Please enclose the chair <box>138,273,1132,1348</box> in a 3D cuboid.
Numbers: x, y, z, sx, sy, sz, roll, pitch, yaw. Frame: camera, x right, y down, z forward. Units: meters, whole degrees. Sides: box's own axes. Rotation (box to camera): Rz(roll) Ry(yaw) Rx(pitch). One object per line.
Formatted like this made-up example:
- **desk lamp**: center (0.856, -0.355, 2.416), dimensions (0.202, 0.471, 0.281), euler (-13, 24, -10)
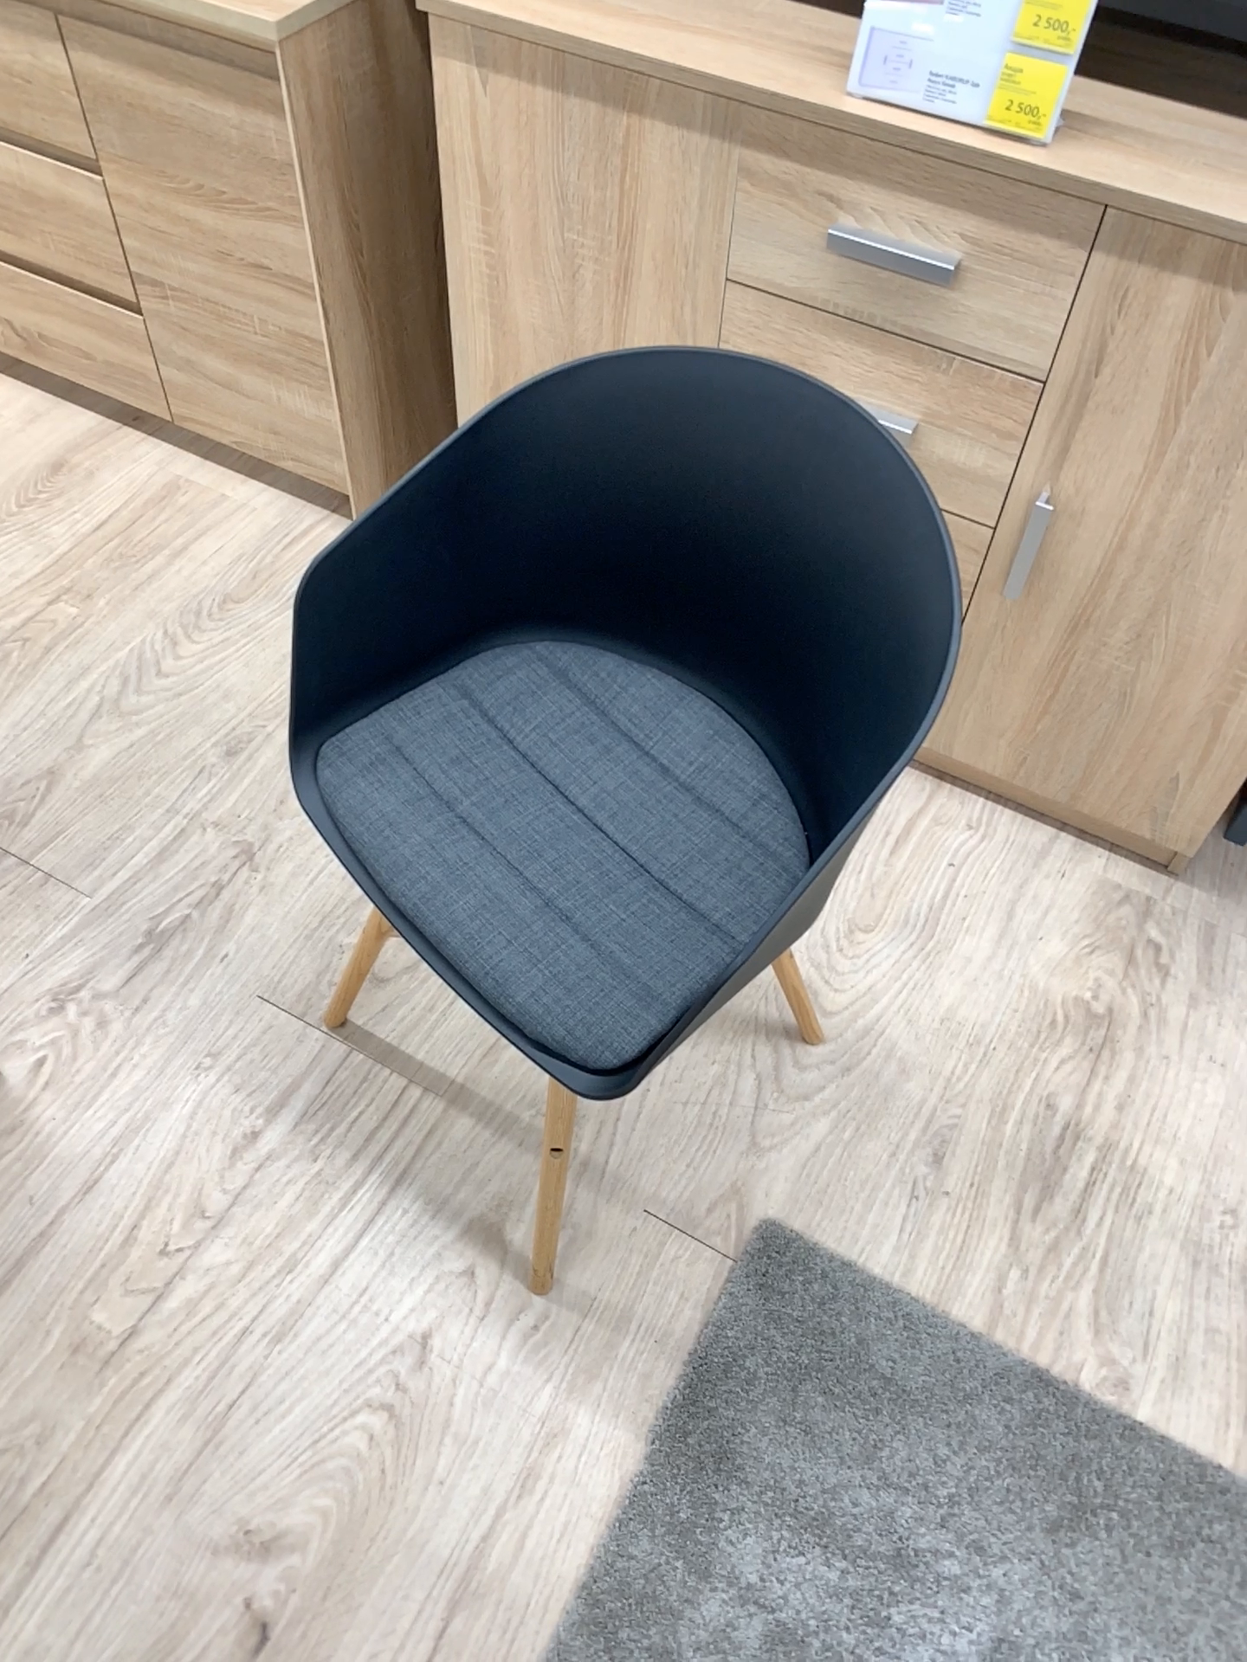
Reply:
- **chair**: center (-0.004, 0.013, 1.263), dimensions (0.551, 0.787, 0.511), euler (-35, 61, -26)
